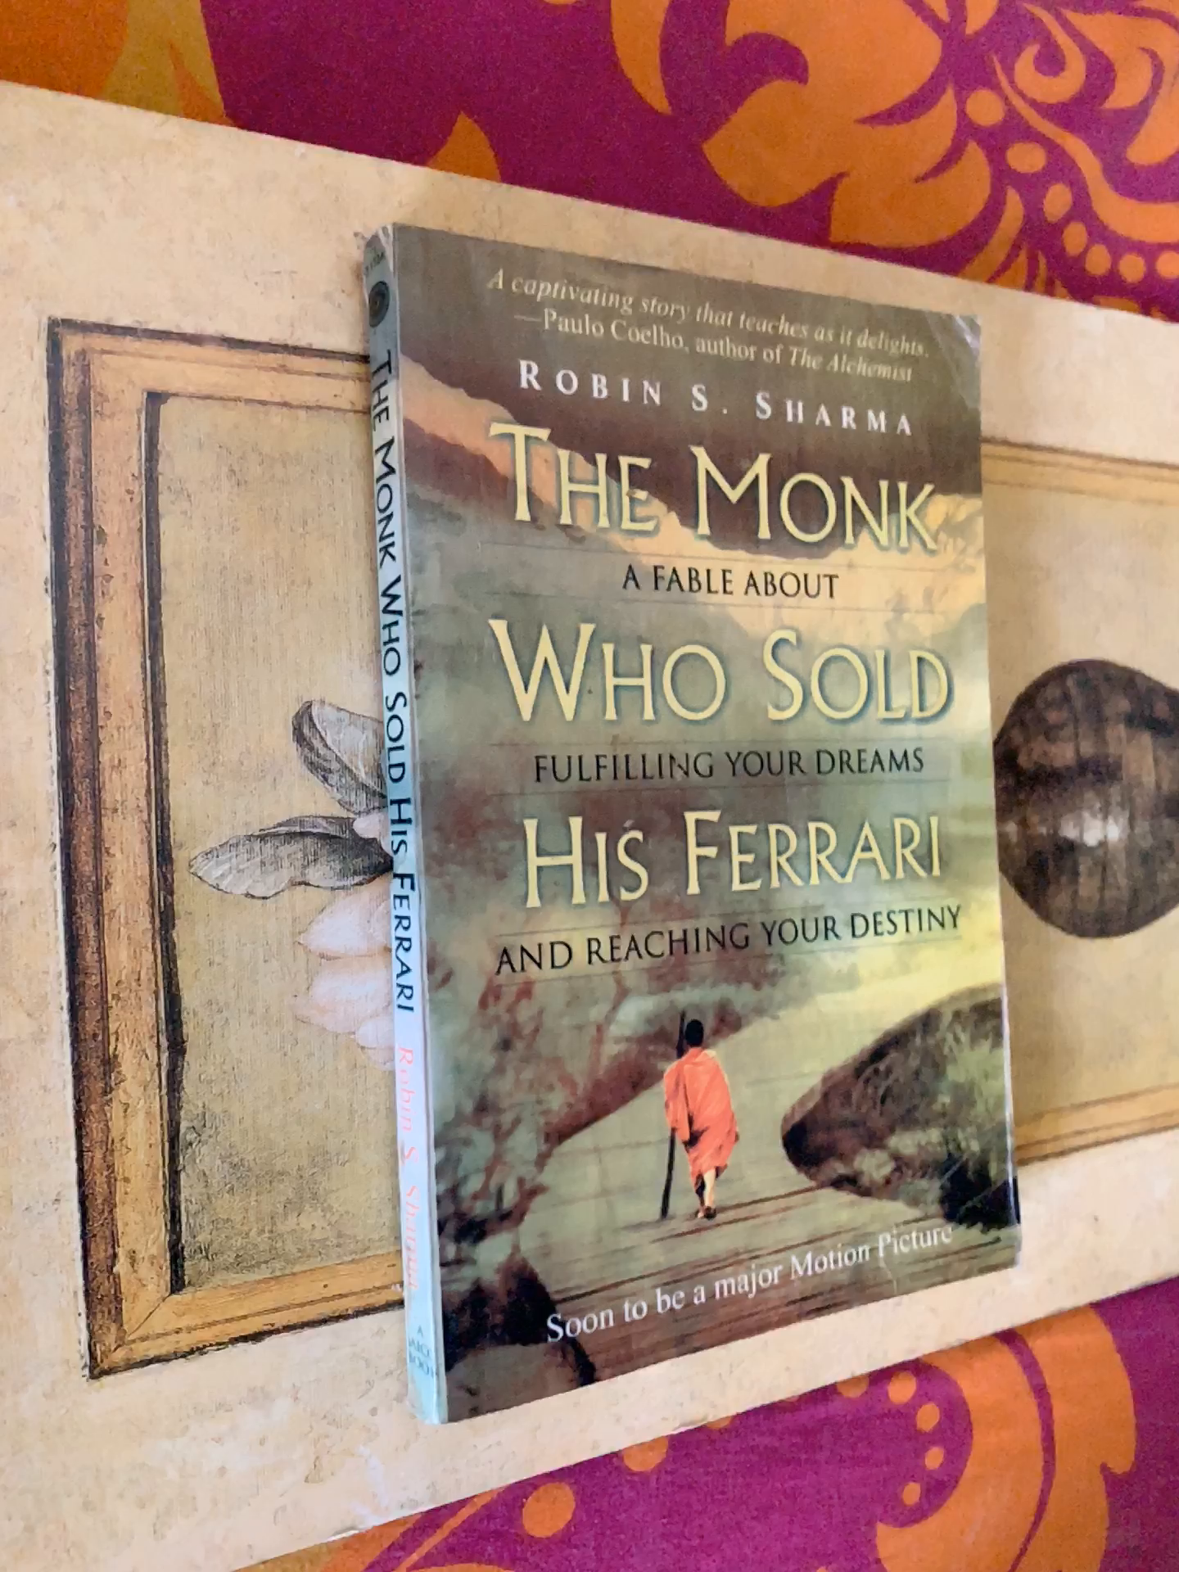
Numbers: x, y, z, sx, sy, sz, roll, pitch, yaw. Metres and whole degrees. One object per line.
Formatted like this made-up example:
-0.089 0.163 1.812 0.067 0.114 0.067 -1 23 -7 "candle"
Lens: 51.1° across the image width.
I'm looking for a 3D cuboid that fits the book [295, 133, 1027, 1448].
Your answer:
0.018 -0.002 0.231 0.130 0.030 0.200 -3 89 -28 "book"
